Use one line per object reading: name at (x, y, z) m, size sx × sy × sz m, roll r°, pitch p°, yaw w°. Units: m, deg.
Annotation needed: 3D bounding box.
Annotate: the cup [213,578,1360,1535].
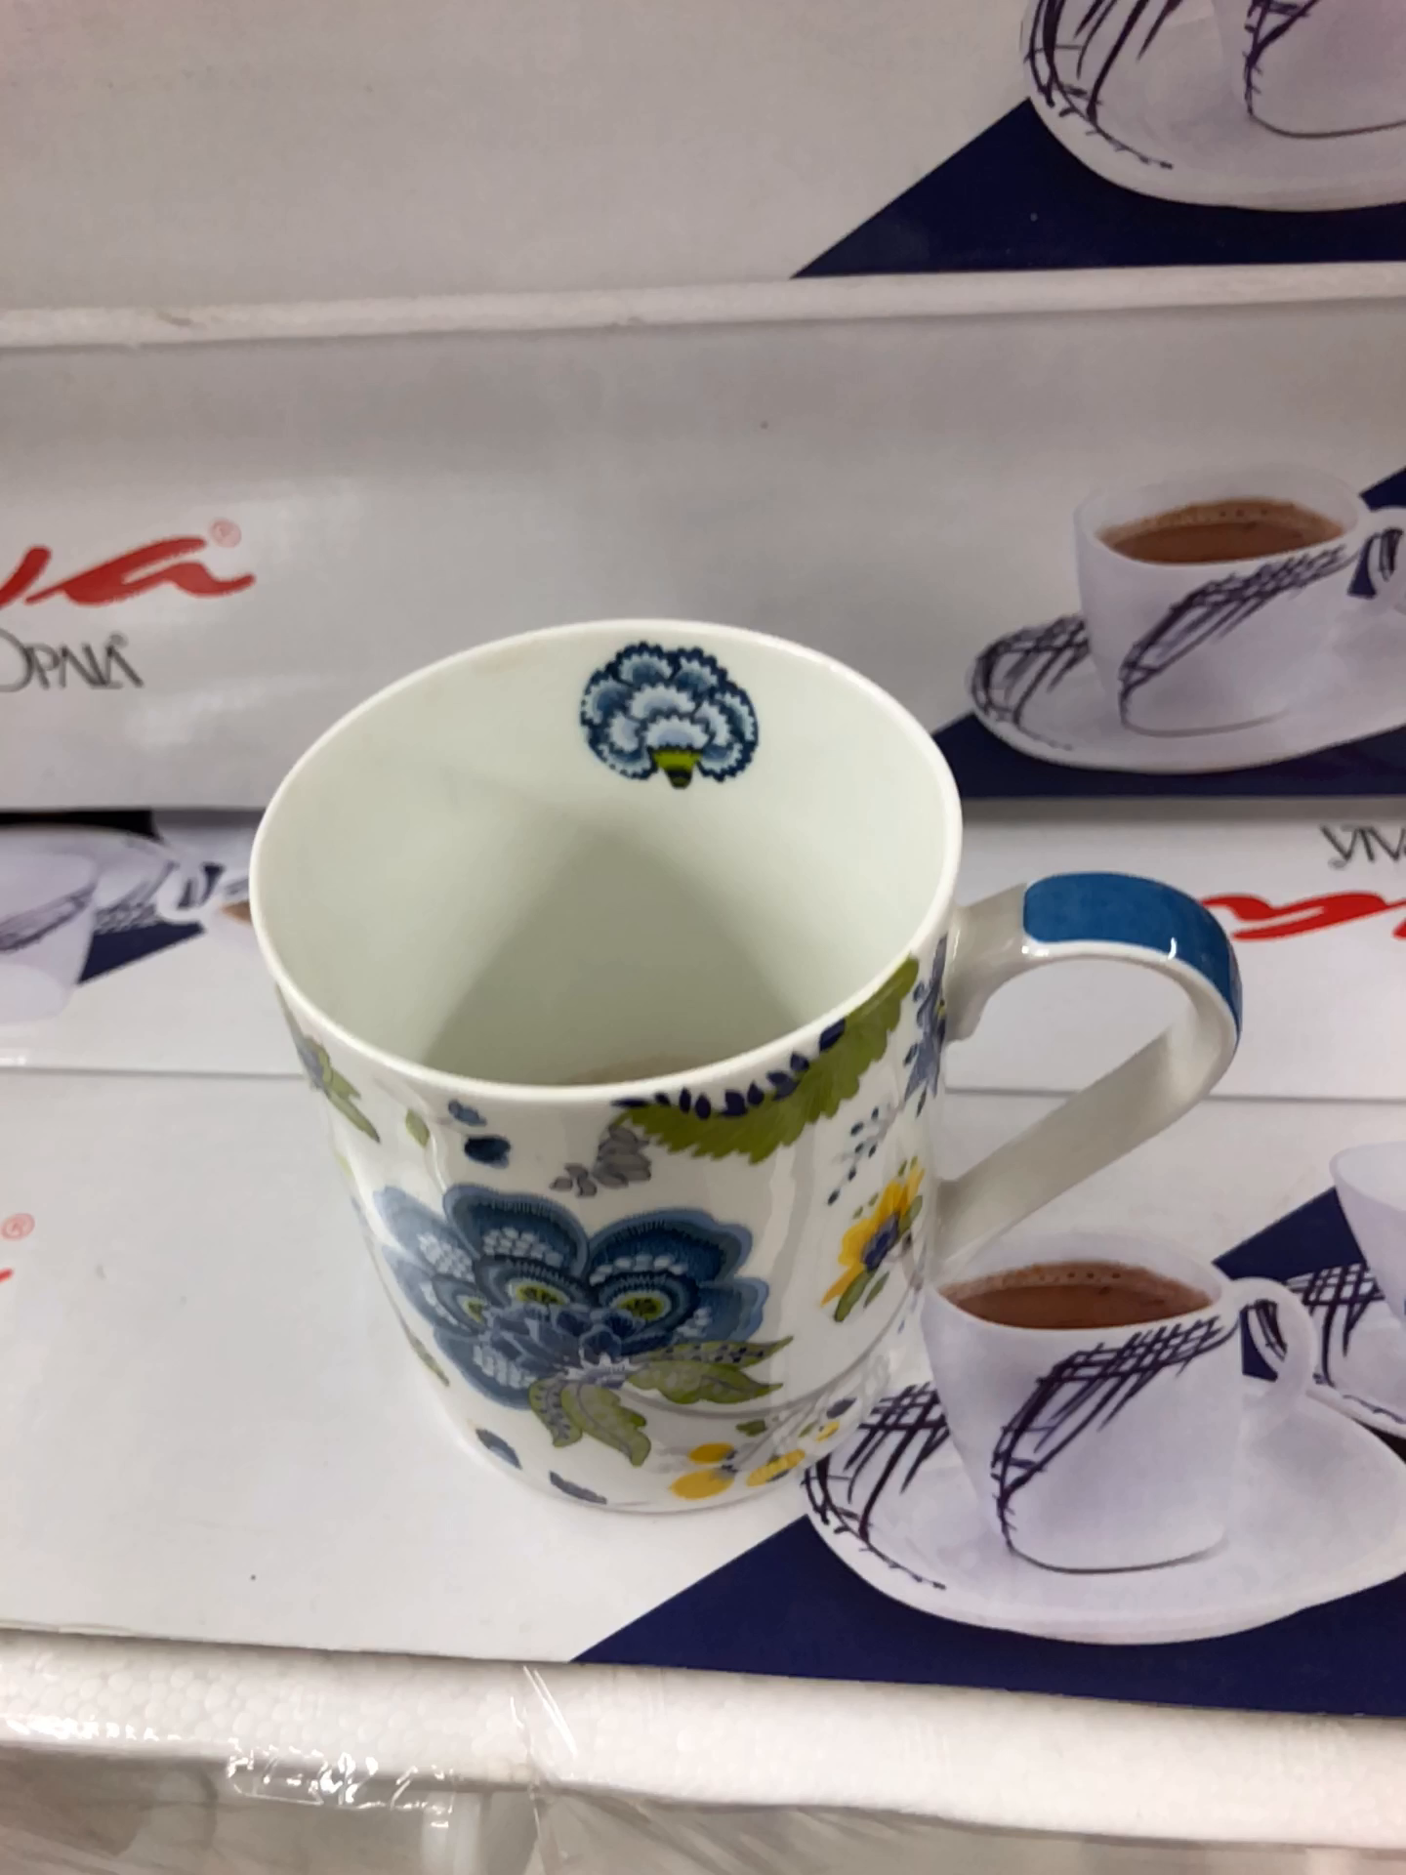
cup at (0.009, 0.017, 0.195) m, size 0.100 × 0.090 × 0.070 m, roll -4°, pitch 46°, yaw 1°
